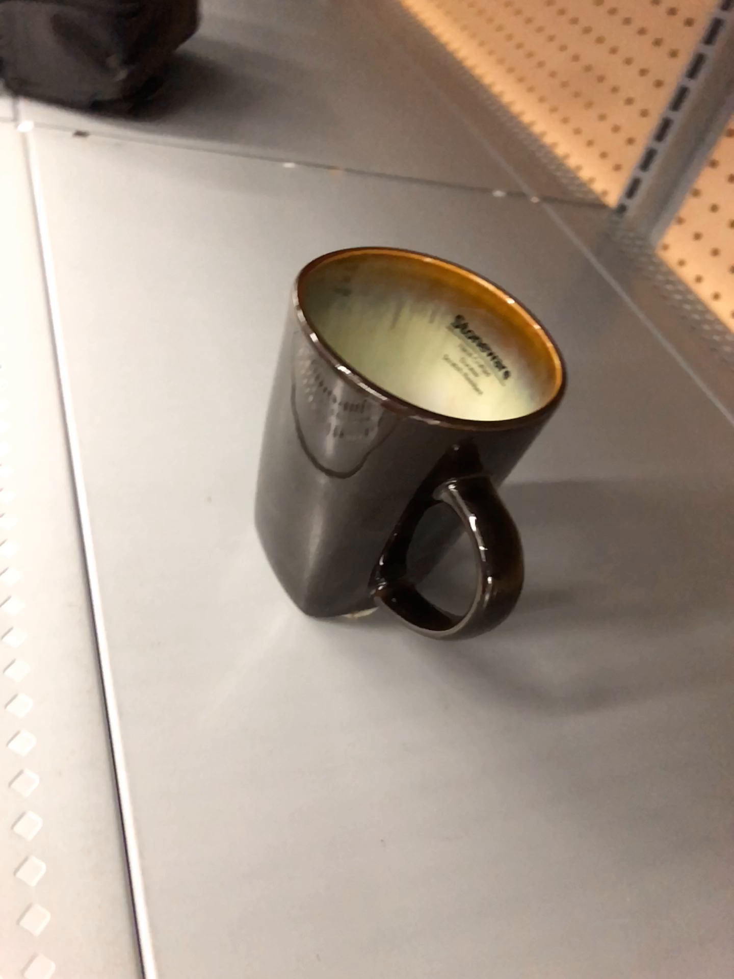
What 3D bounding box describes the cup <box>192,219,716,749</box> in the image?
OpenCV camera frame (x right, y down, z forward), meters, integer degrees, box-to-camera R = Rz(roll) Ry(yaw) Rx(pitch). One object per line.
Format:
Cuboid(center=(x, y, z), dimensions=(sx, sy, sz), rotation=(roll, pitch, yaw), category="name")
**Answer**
Cuboid(center=(0.016, -0.009, 0.281), dimensions=(0.095, 0.099, 0.136), rotation=(-9, 52, -31), category="cup")
